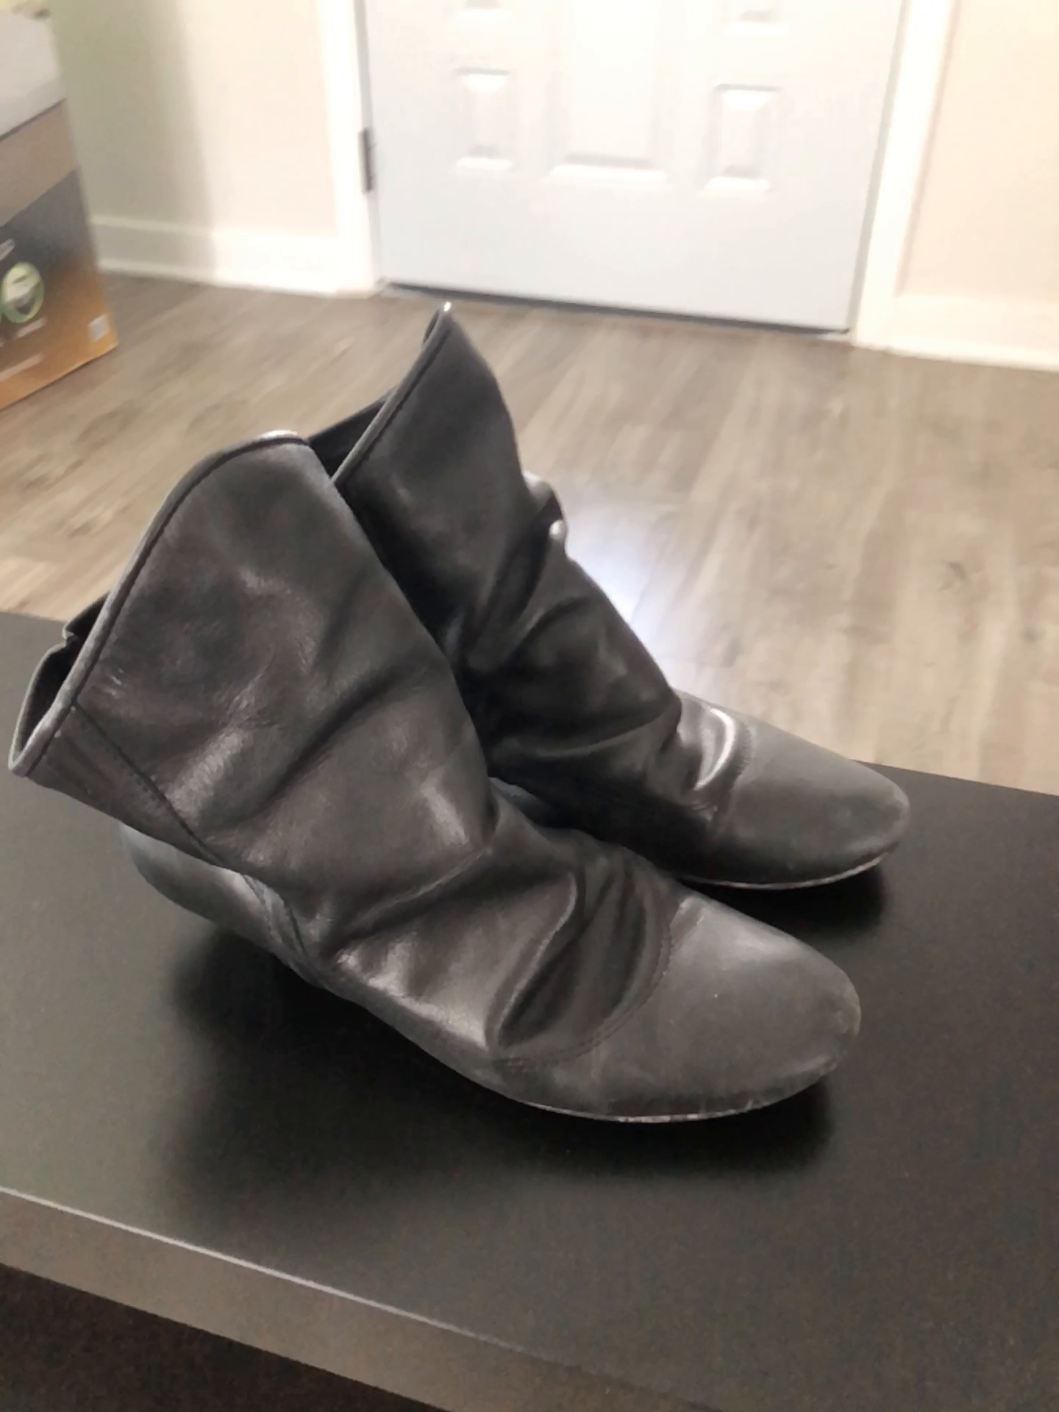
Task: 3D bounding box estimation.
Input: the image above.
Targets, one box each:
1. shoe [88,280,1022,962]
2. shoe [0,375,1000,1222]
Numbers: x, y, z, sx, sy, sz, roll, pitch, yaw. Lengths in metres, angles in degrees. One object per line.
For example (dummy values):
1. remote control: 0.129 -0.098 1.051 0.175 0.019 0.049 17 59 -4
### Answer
1. shoe: 0.009 -0.034 0.404 0.260 0.169 0.101 10 38 13
2. shoe: -0.021 0.020 0.329 0.250 0.169 0.101 10 38 13
